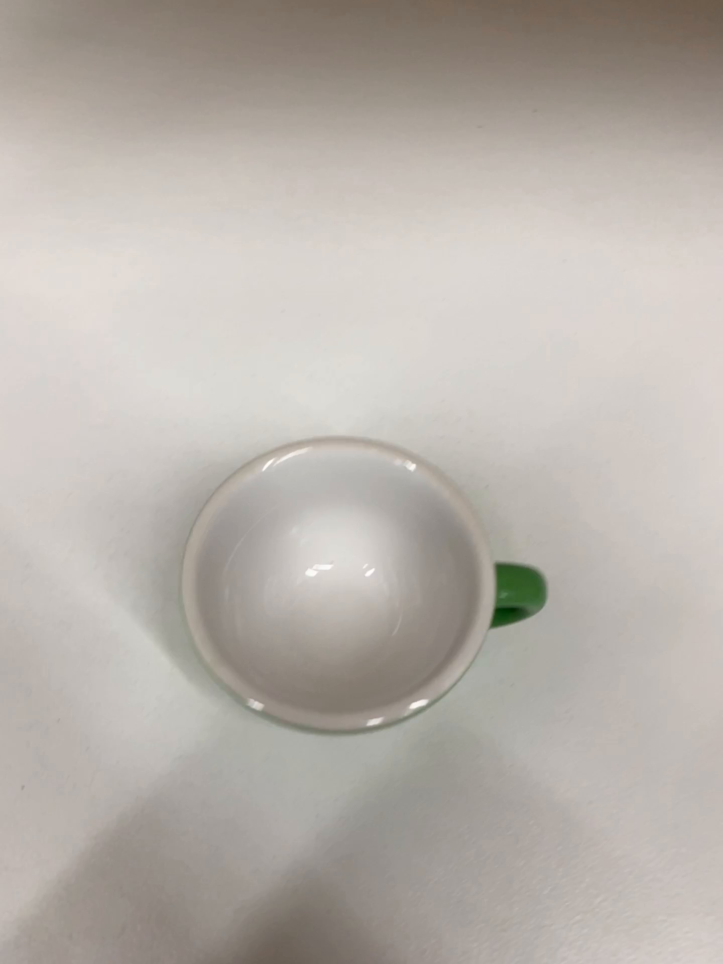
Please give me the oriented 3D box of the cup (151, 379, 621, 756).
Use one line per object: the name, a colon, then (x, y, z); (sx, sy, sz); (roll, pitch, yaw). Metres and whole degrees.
cup: (0.003, 0.017, 0.145); (0.070, 0.040, 0.060); (0, 62, -1)
